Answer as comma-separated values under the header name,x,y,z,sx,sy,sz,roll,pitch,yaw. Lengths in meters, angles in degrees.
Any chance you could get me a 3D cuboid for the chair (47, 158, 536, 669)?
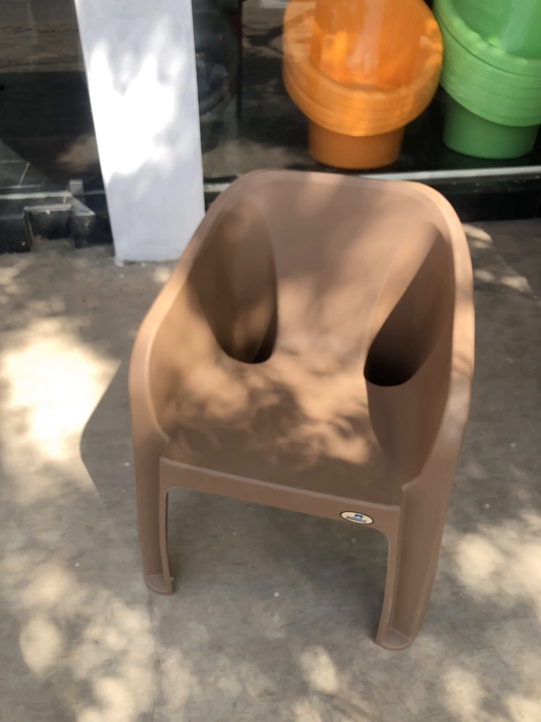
name,x,y,z,sx,sy,sz,roll,pitch,yaw
chair,0.086,0.049,1.239,0.640,0.637,0.724,9,39,10
